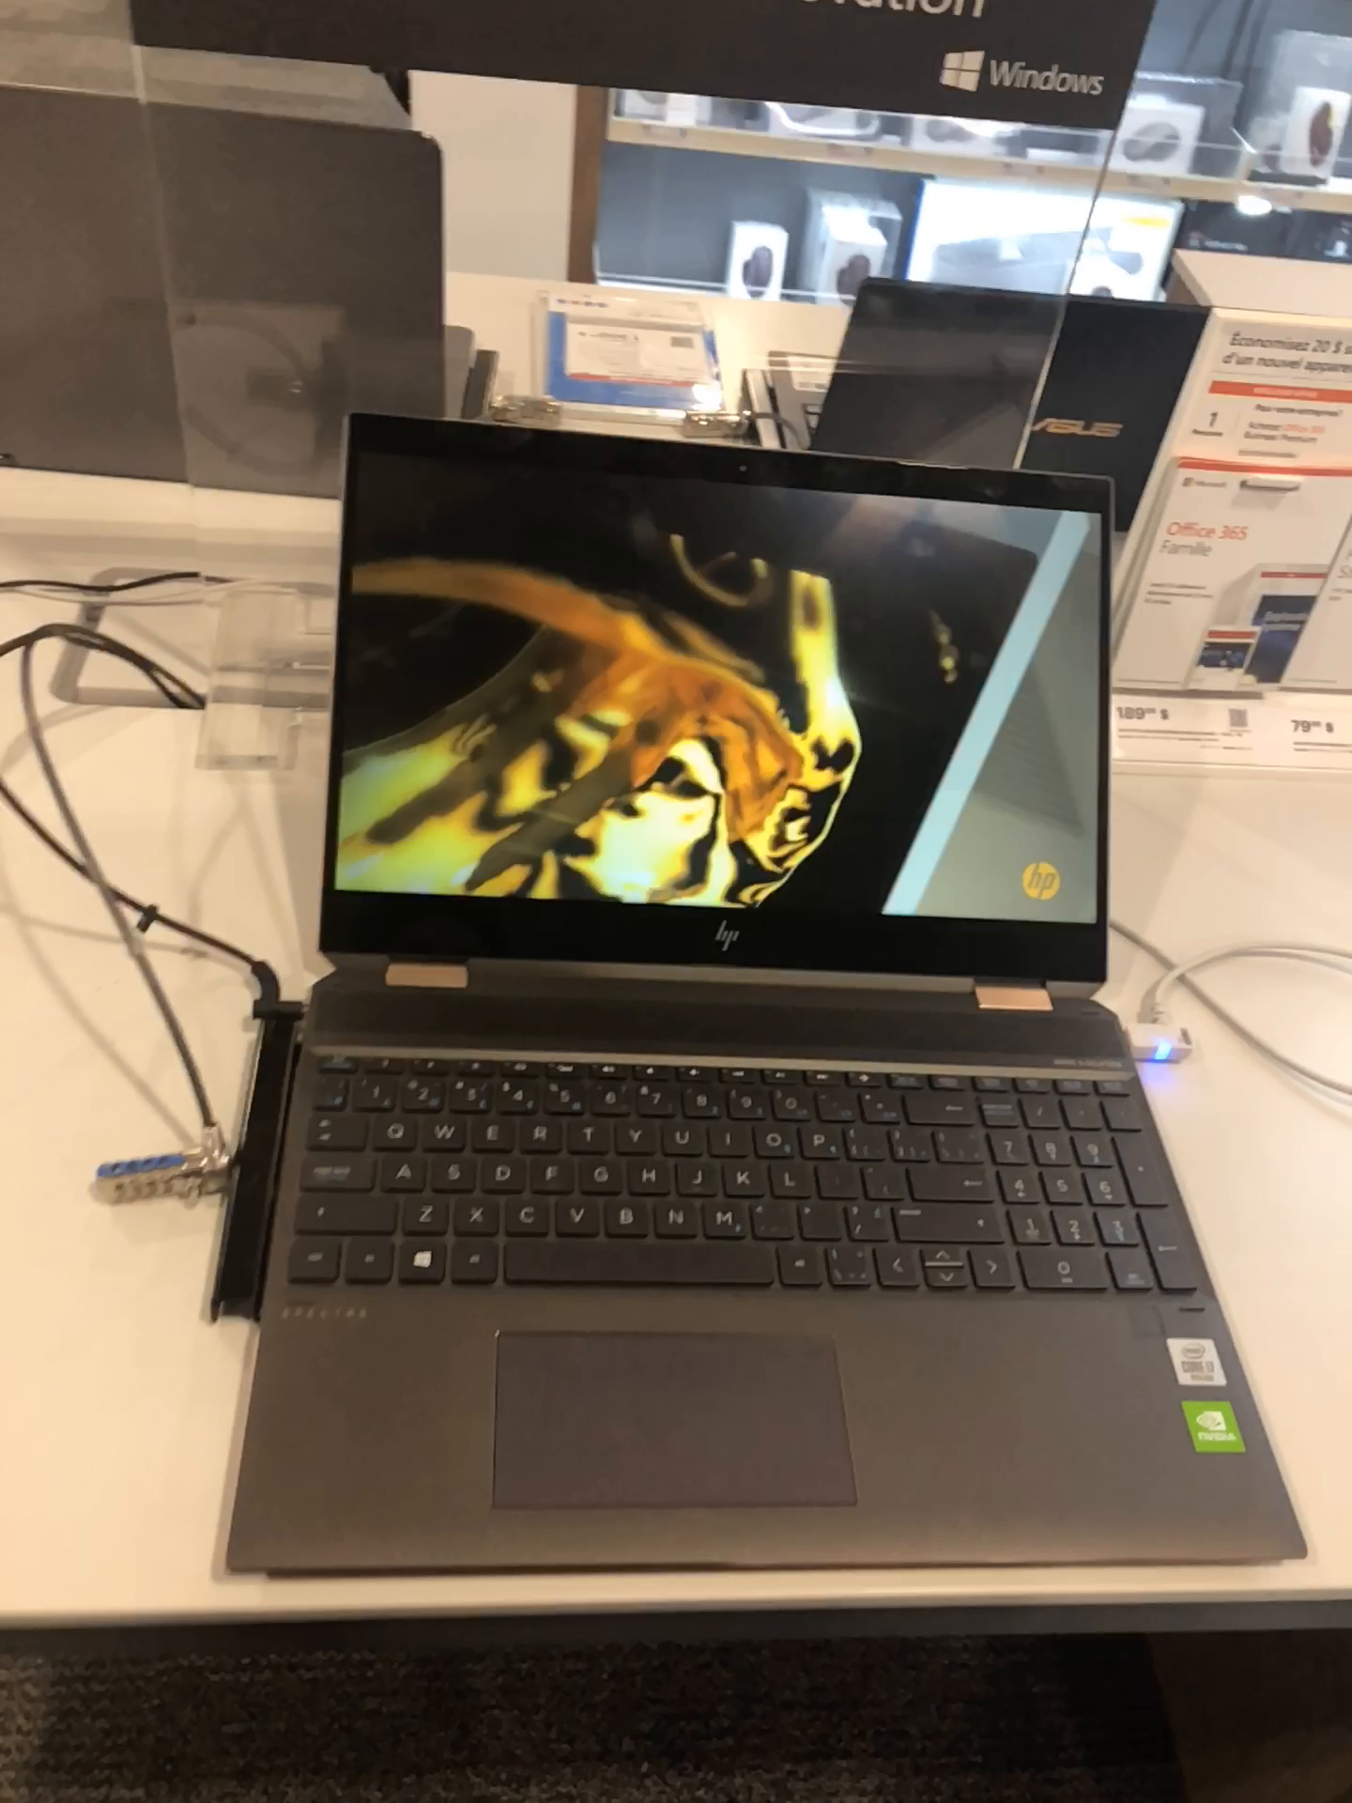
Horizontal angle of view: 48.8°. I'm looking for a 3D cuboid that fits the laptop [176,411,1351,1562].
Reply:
[{"bbox_3d":[0.031,-0.001,0.561,0.333,0.145,0.427,2,45,-5],"label":"laptop"}]
